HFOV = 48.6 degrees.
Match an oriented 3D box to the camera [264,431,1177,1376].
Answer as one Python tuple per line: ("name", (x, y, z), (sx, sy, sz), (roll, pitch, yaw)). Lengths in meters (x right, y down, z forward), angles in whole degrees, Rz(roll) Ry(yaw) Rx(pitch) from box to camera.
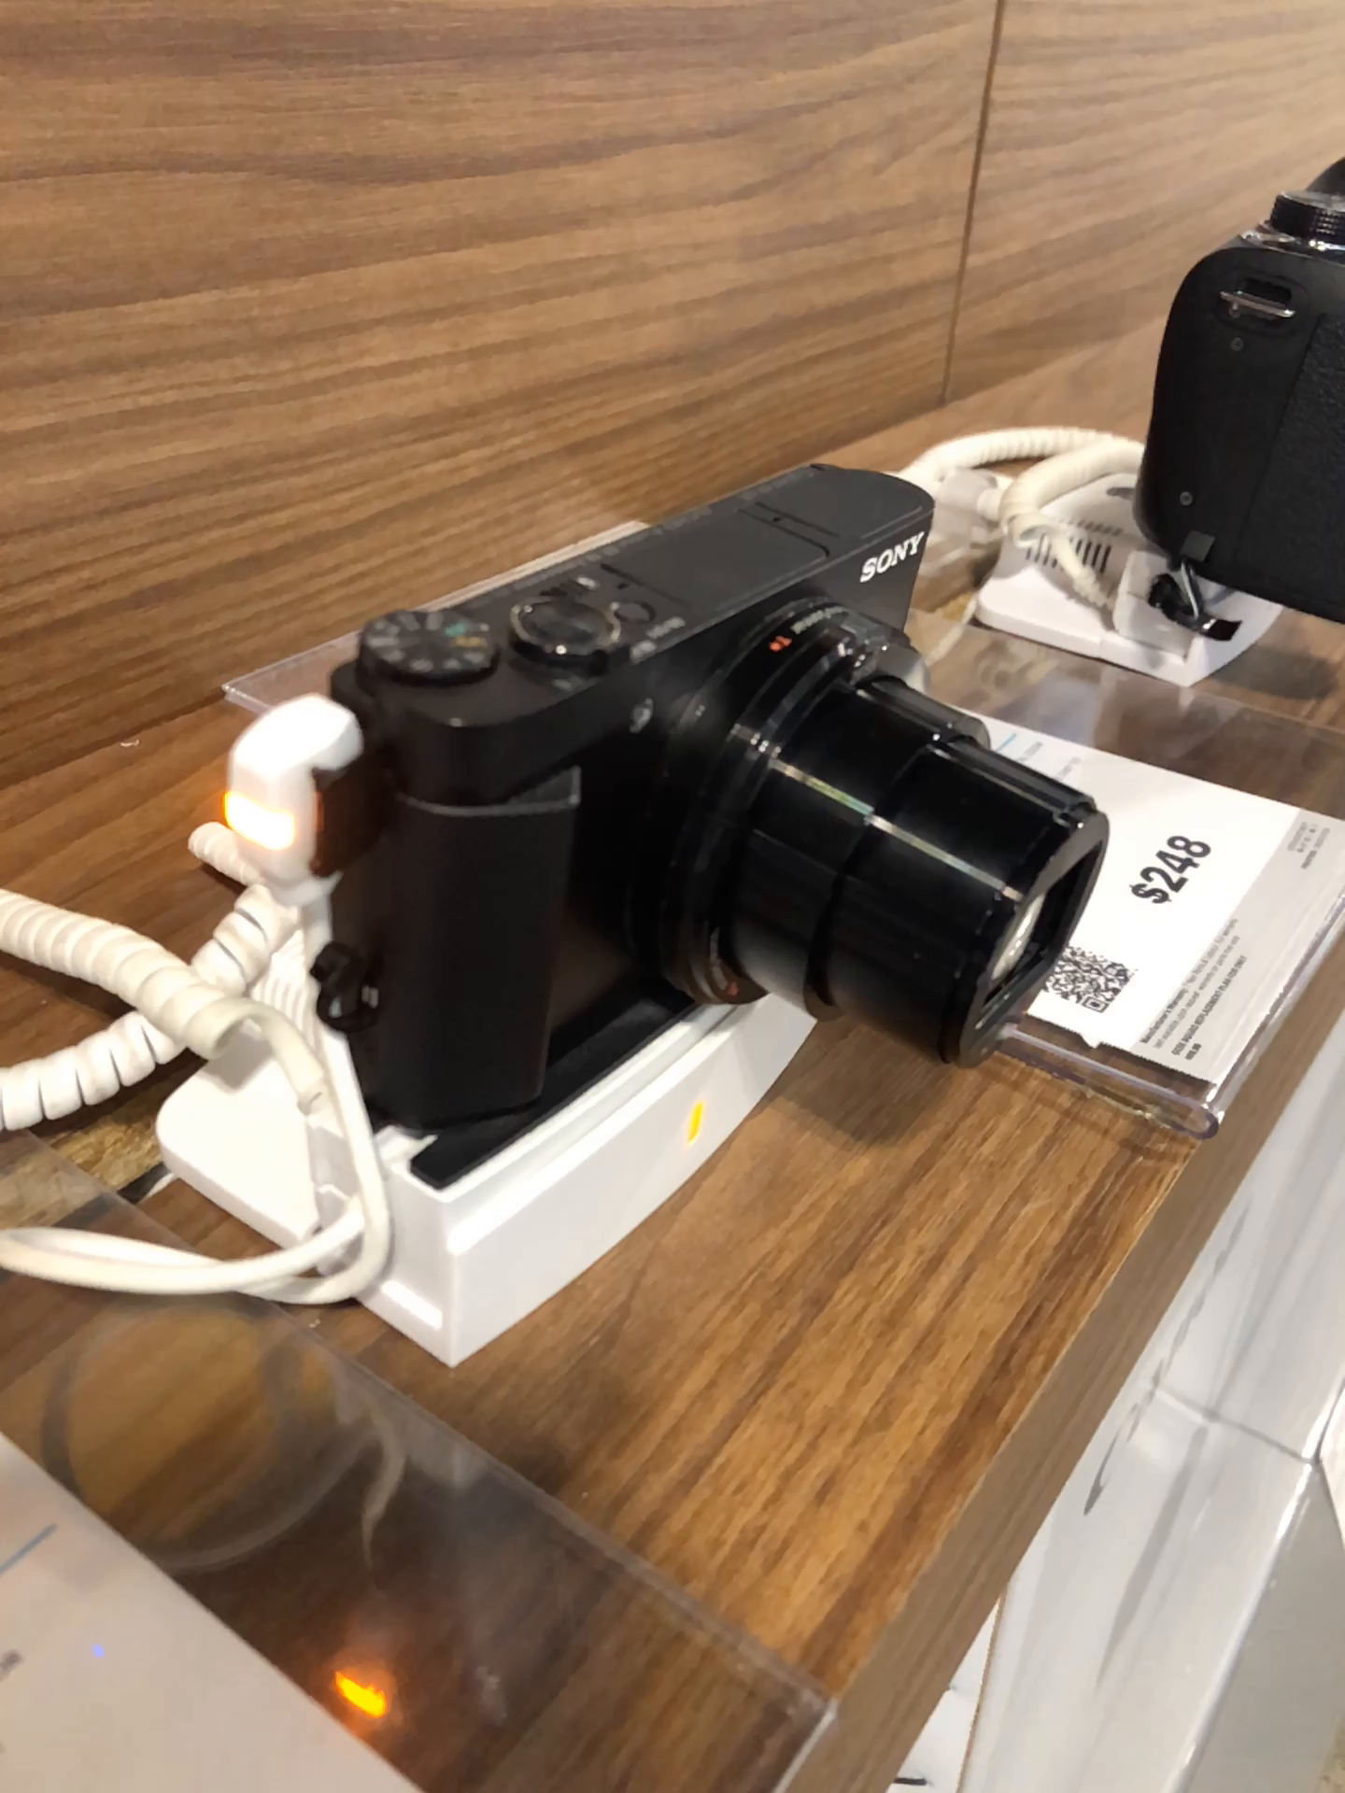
("camera", (0.011, -0.009, 0.190), (0.060, 0.070, 0.100), (22, 36, 29))
